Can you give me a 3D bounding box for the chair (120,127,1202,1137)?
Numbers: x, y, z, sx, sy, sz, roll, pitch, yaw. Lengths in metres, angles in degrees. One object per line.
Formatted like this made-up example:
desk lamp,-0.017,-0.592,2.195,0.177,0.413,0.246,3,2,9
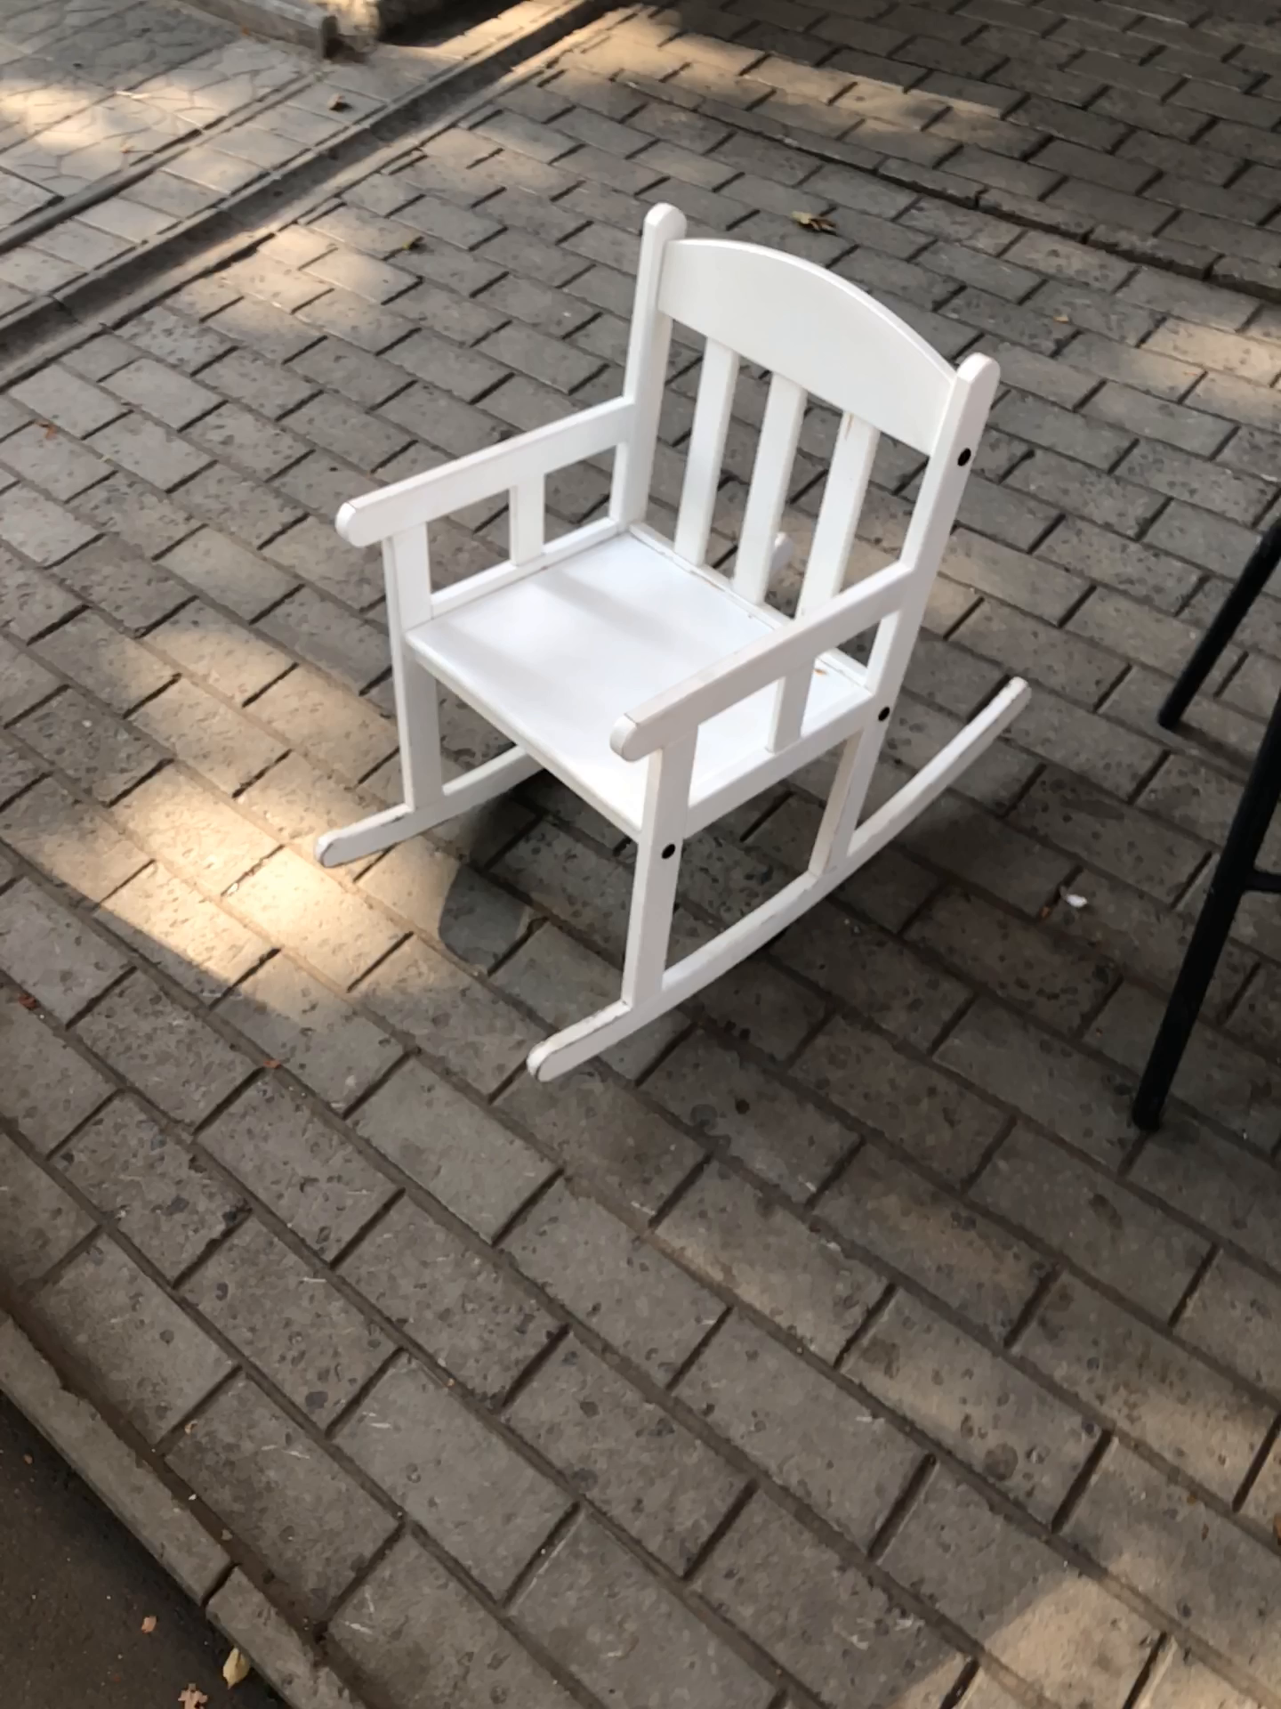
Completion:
chair,0.045,-0.234,1.275,0.751,0.458,0.441,-37,58,-25
